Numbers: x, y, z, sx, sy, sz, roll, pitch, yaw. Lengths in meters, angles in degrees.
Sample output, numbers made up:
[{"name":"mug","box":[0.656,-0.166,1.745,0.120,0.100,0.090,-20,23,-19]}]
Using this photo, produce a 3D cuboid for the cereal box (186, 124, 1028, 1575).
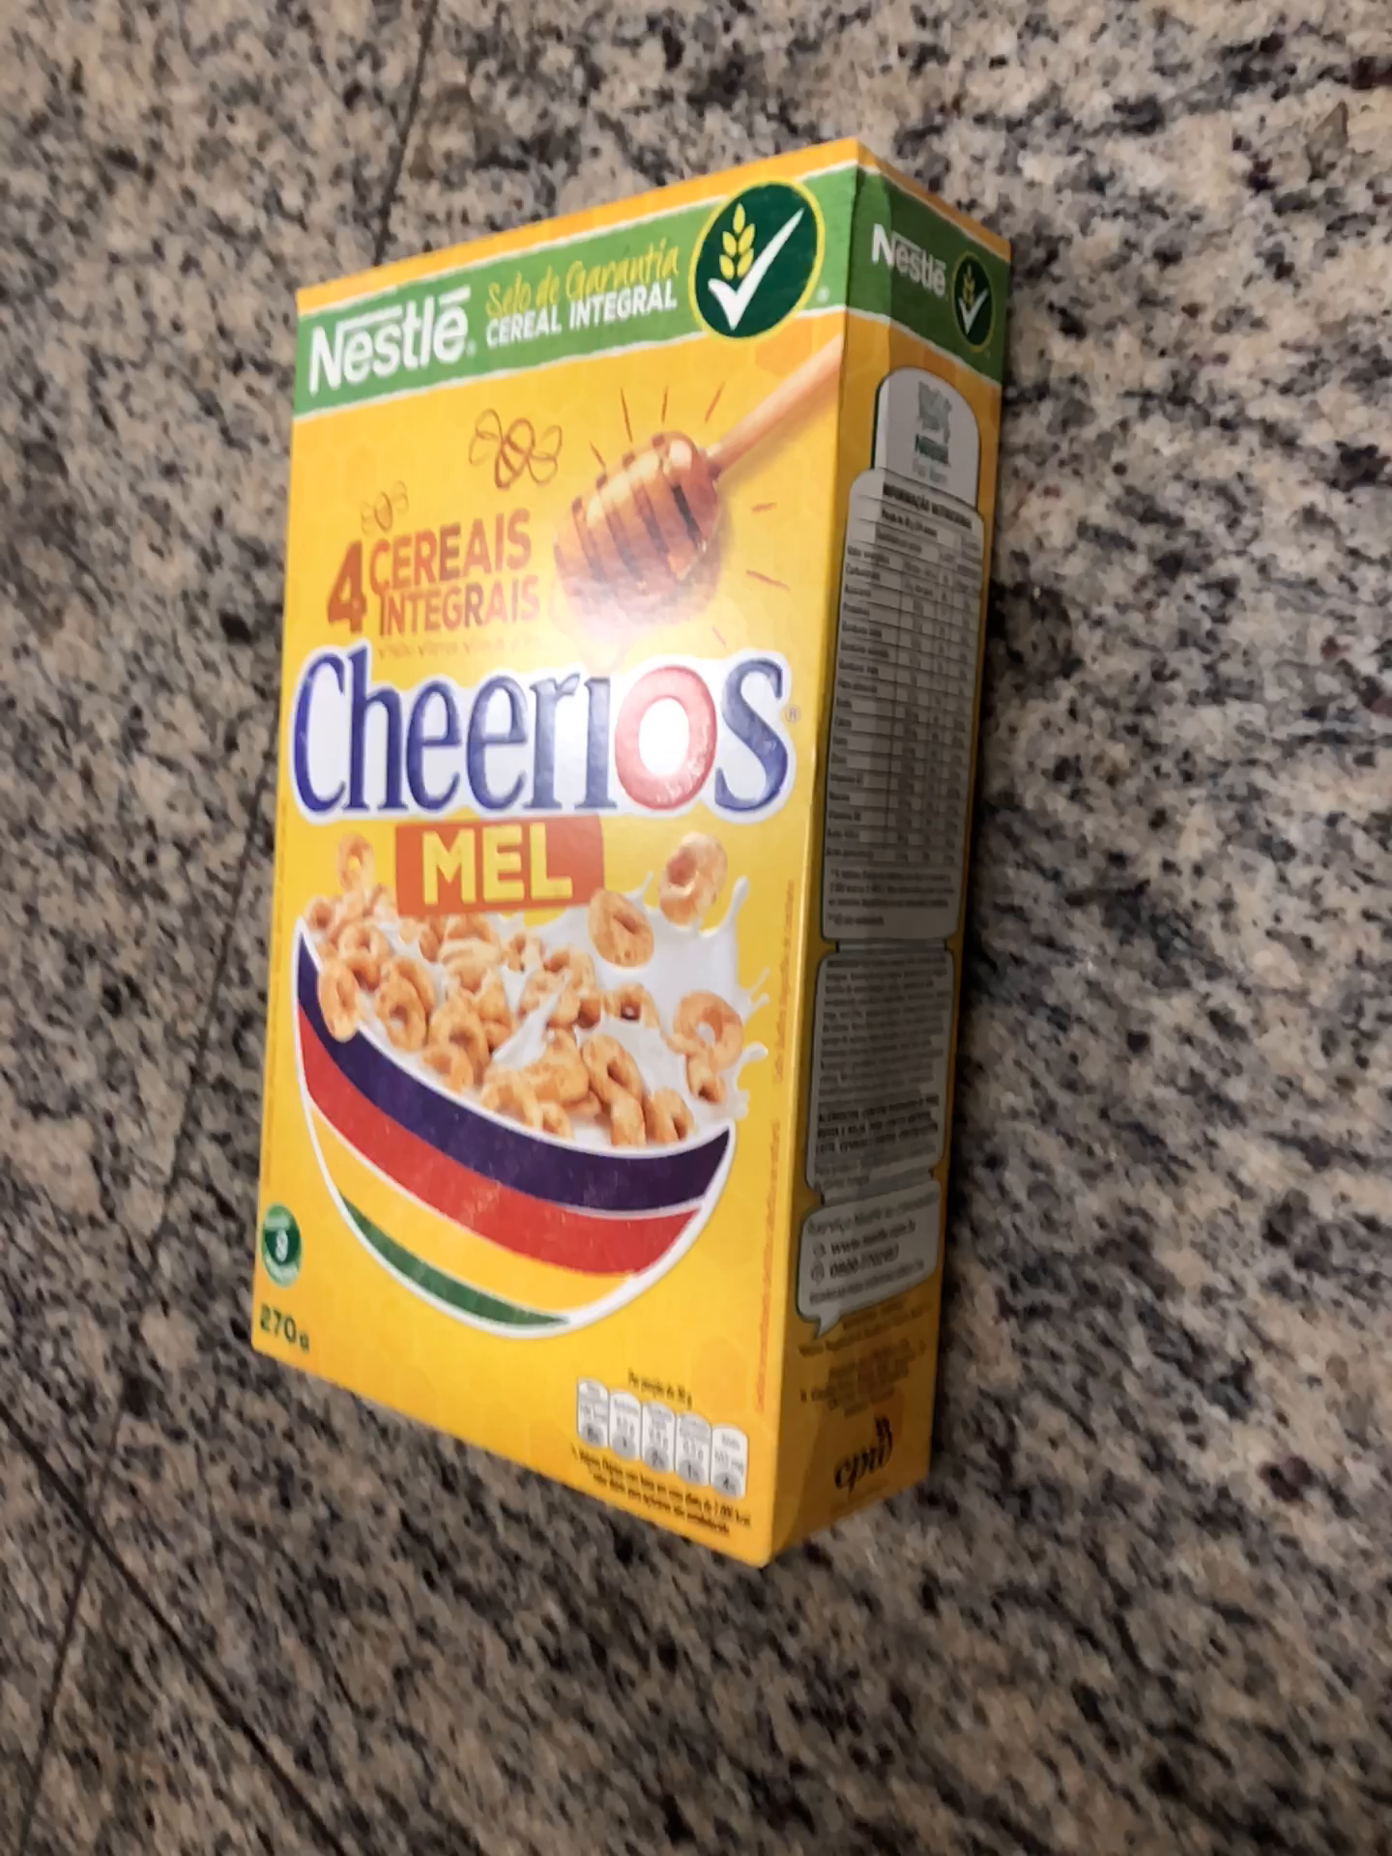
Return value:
[{"name":"cereal box","box":[-0.028,-0.017,0.332,0.171,0.060,0.240,5,92,38]}]
